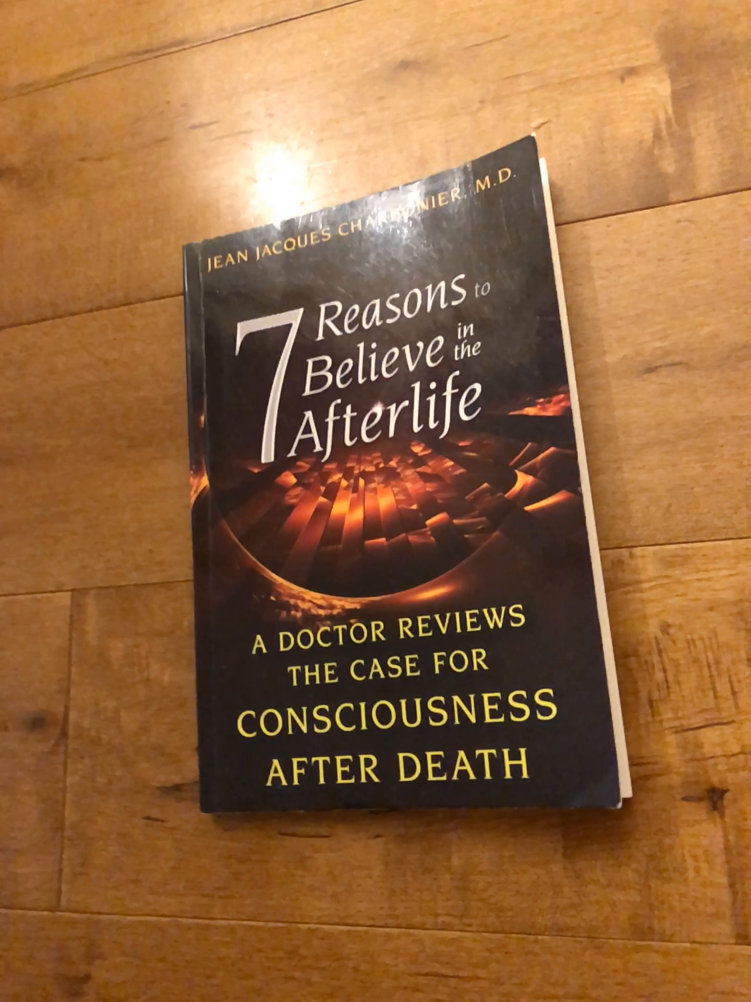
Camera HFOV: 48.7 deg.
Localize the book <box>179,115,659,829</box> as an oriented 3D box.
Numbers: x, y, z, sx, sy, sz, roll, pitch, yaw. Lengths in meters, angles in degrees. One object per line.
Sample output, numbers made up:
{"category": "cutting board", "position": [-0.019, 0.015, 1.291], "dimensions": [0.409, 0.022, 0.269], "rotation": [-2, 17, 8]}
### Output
{"category": "book", "position": [0.003, -0.006, 0.327], "dimensions": [0.170, 0.030, 0.250], "rotation": [-9, 76, 23]}
